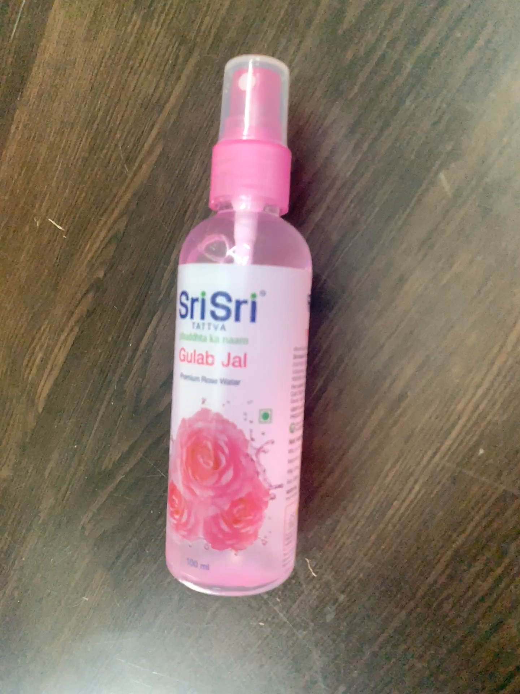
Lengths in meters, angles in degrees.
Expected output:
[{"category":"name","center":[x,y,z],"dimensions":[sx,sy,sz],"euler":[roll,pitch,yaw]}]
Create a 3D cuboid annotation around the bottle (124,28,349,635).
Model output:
[{"category":"bottle","center":[-0.007,-0.003,0.152],"dimensions":[0.040,0.040,0.140],"euler":[7,96,35]}]
